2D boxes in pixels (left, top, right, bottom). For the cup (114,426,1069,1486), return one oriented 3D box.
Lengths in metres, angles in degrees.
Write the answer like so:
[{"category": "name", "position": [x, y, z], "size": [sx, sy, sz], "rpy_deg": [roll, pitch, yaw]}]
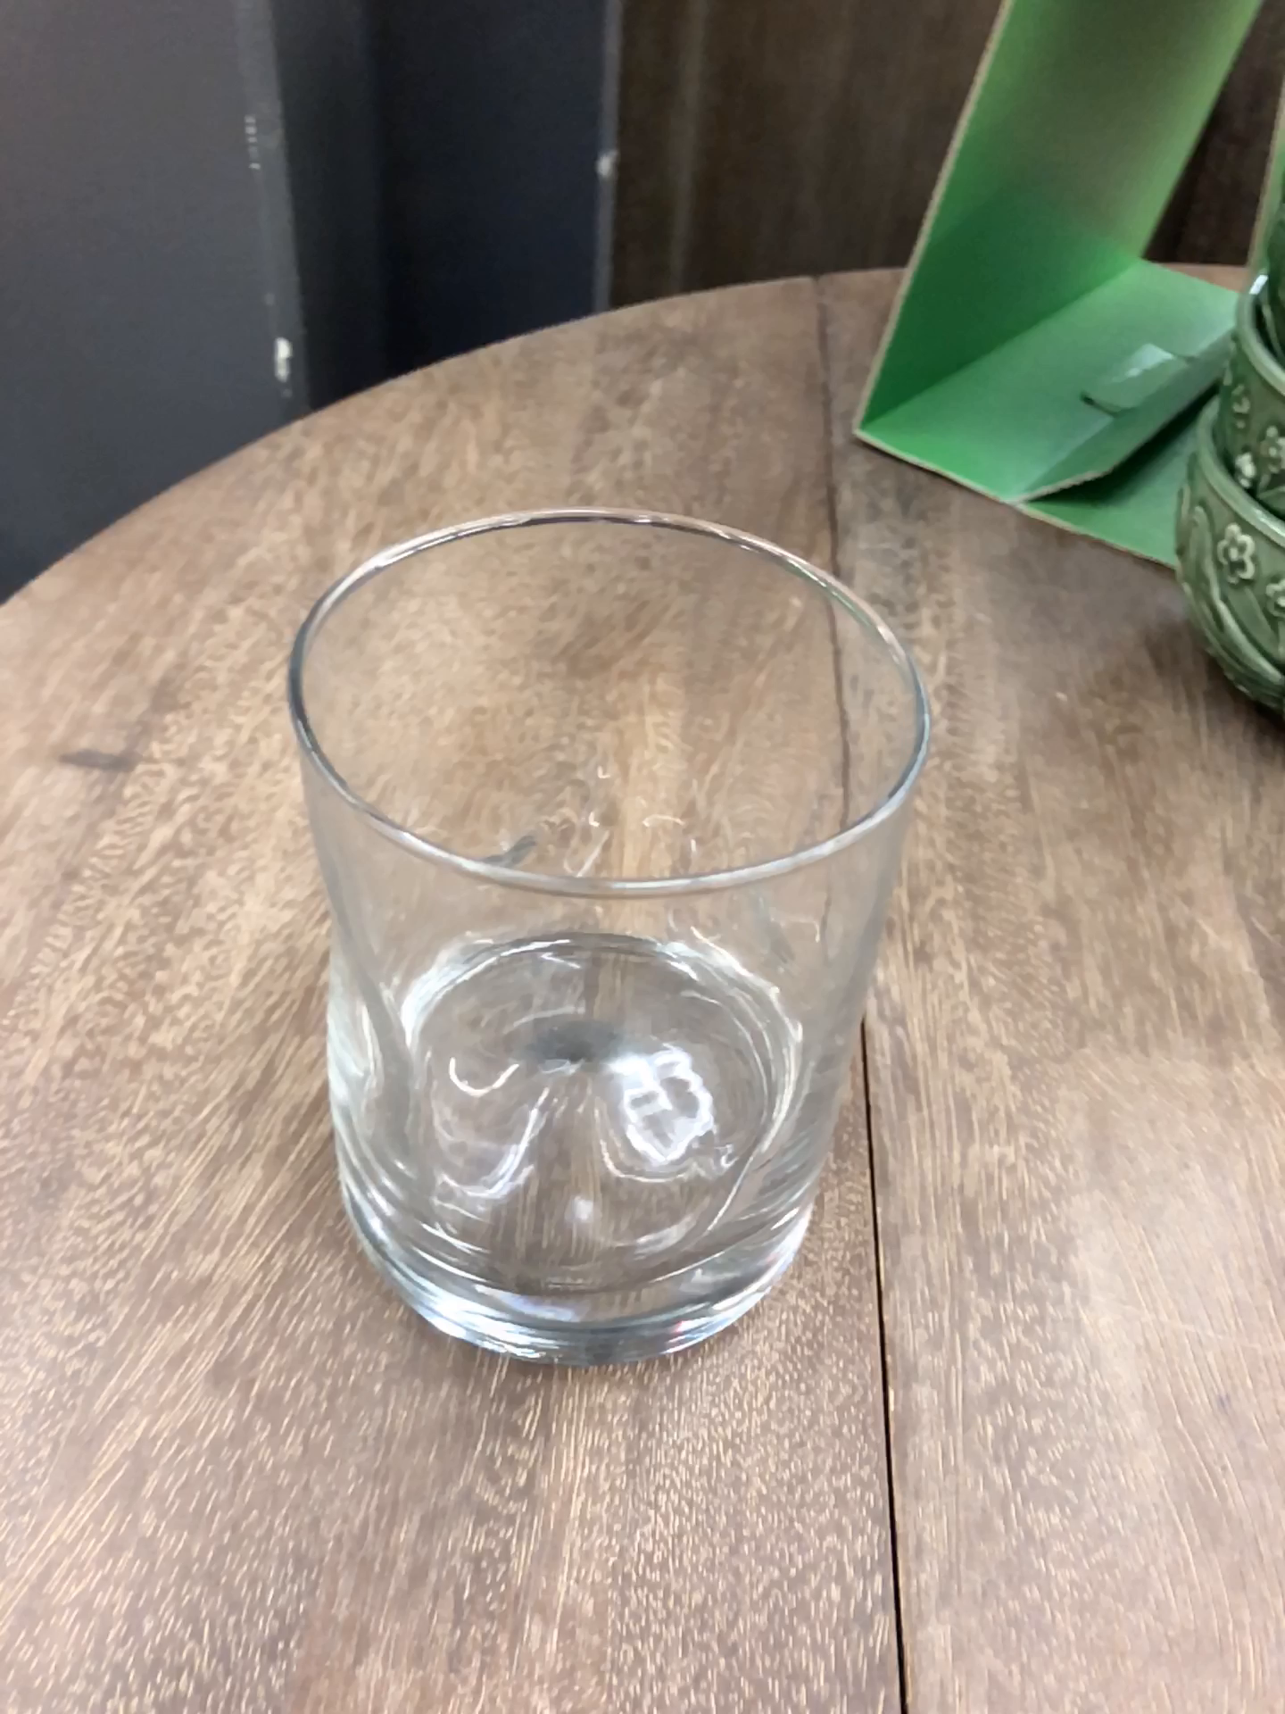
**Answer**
[{"category": "cup", "position": [-0.004, 0.011, 0.206], "size": [0.084, 0.098, 0.084], "rpy_deg": [2, 42, -2]}]
